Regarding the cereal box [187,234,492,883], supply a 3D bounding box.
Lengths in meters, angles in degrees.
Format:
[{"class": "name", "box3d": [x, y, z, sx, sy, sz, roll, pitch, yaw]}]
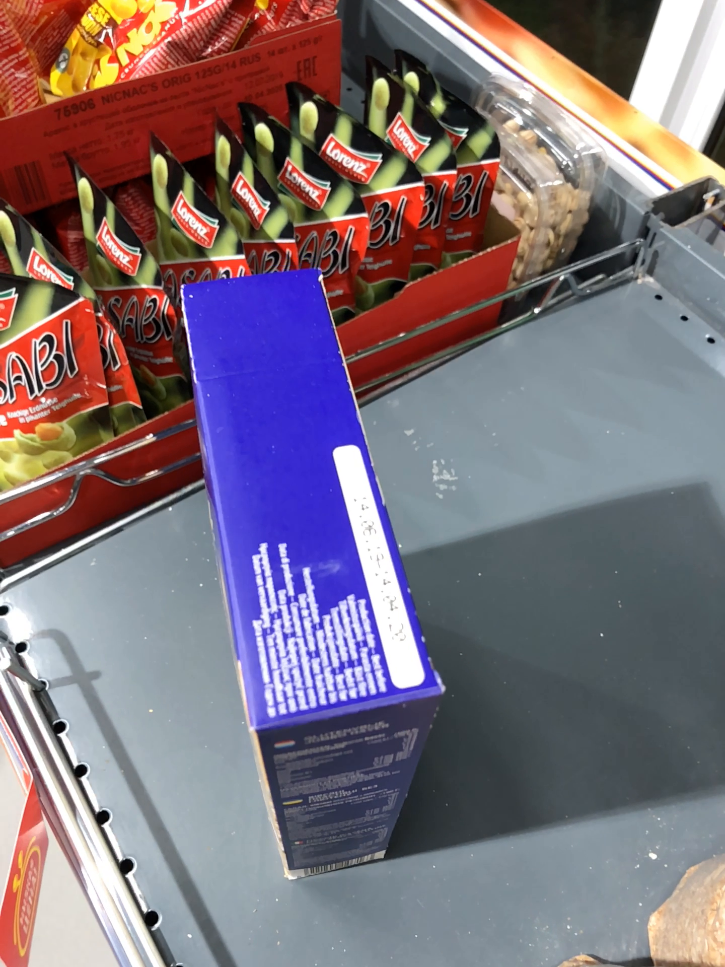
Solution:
[{"class": "cereal box", "box3d": [-0.019, 0.049, 0.306, 0.050, 0.229, 0.151, -9, 58, -9]}]
